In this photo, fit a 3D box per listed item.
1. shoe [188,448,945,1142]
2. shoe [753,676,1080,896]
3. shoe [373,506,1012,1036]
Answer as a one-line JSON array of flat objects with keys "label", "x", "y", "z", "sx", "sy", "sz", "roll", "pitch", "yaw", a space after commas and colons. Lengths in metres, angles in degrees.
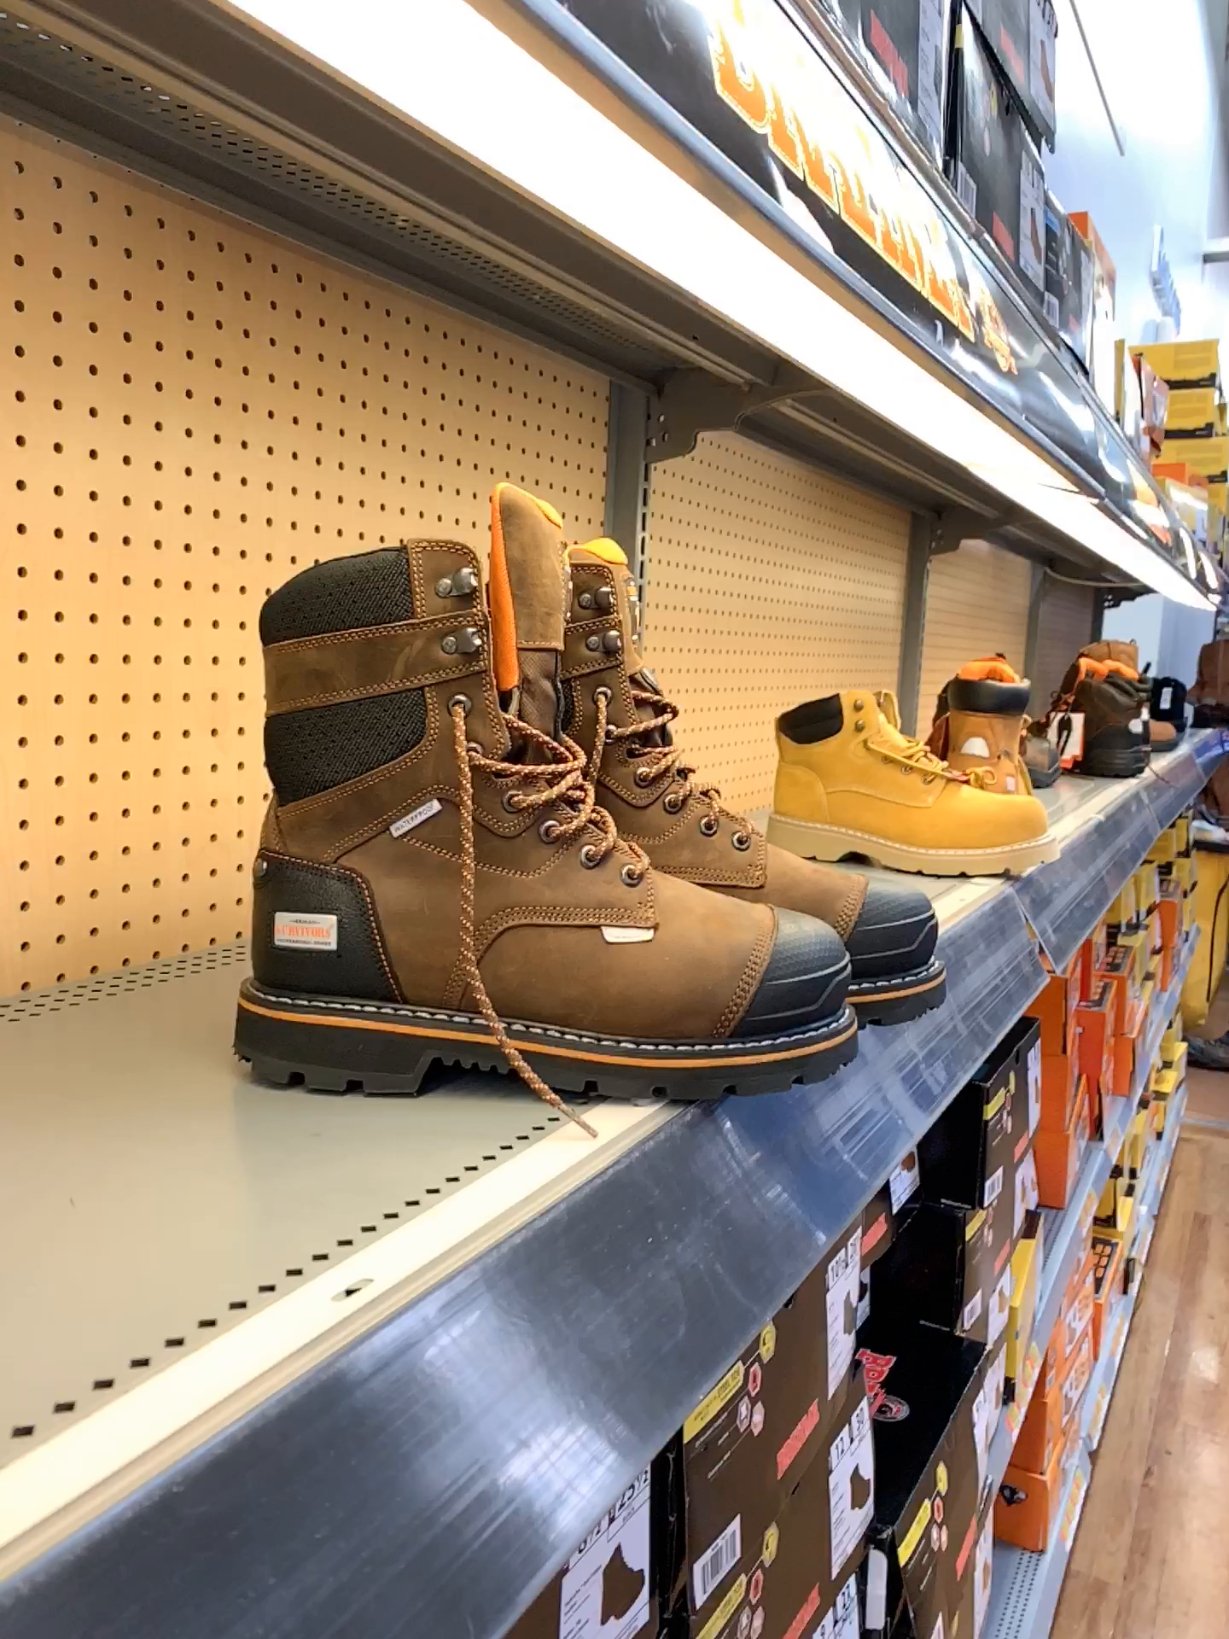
[{"label": "shoe", "x": -0.024, "y": -0.018, "z": 0.608, "sx": 0.313, "sy": 0.280, "sz": 0.136, "roll": 4, "pitch": 7, "yaw": 4}, {"label": "shoe", "x": 0.299, "y": -0.043, "z": 1.250, "sx": 0.273, "sy": 0.179, "sz": 0.146, "roll": 7, "pitch": 9, "yaw": 28}, {"label": "shoe", "x": 0.038, "y": -0.033, "z": 0.726, "sx": 0.318, "sy": 0.260, "sz": 0.134, "roll": 4, "pitch": 7, "yaw": 2}]
